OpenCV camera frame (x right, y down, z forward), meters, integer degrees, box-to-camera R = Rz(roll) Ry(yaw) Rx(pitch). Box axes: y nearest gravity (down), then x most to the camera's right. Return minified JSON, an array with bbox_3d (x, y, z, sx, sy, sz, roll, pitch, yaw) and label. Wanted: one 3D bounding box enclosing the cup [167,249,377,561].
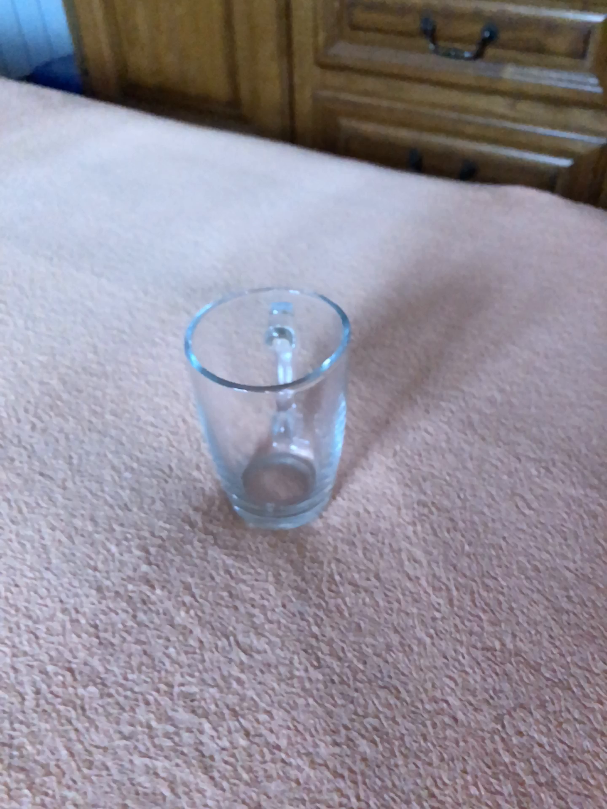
[{"bbox_3d":[-0.008,-0.002,0.293,0.070,0.089,0.101,-1,41,2],"label":"cup"}]
